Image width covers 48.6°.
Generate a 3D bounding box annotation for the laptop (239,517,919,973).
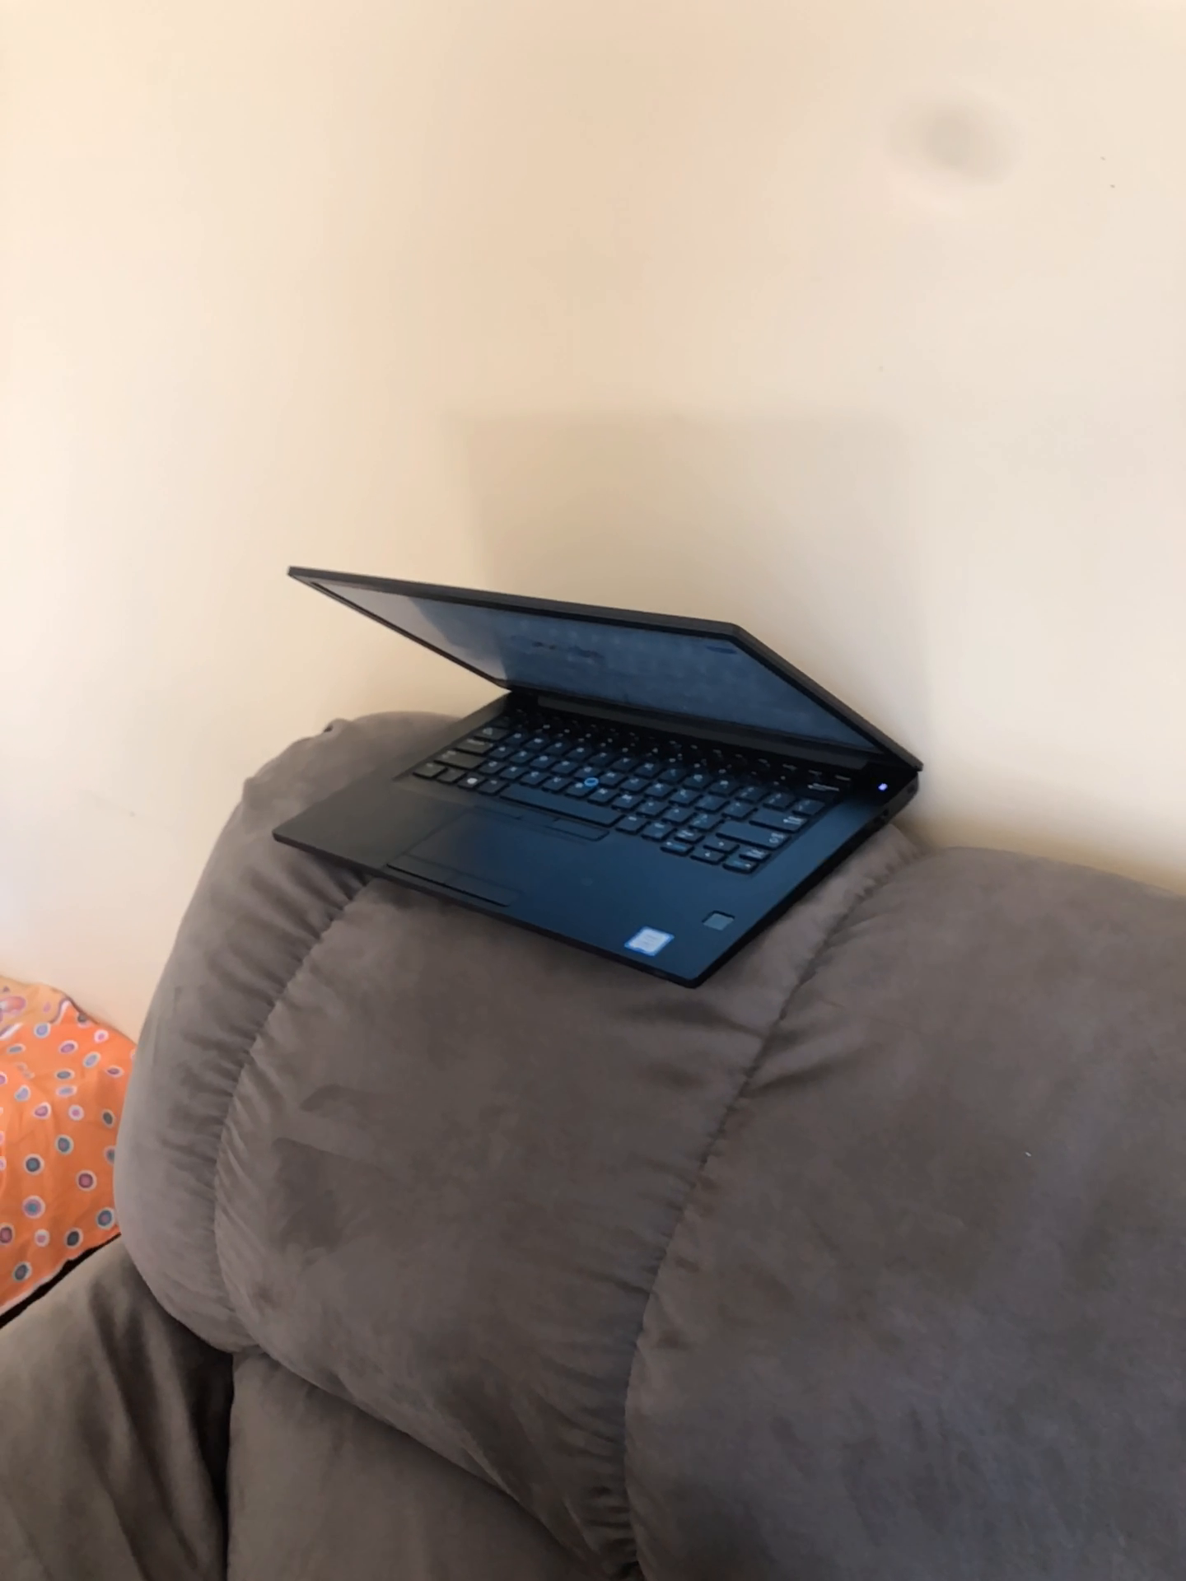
[{"bbox_3d":[-0.012,-0.051,0.752,0.322,0.128,0.213,14,34,40],"label":"laptop"}]
